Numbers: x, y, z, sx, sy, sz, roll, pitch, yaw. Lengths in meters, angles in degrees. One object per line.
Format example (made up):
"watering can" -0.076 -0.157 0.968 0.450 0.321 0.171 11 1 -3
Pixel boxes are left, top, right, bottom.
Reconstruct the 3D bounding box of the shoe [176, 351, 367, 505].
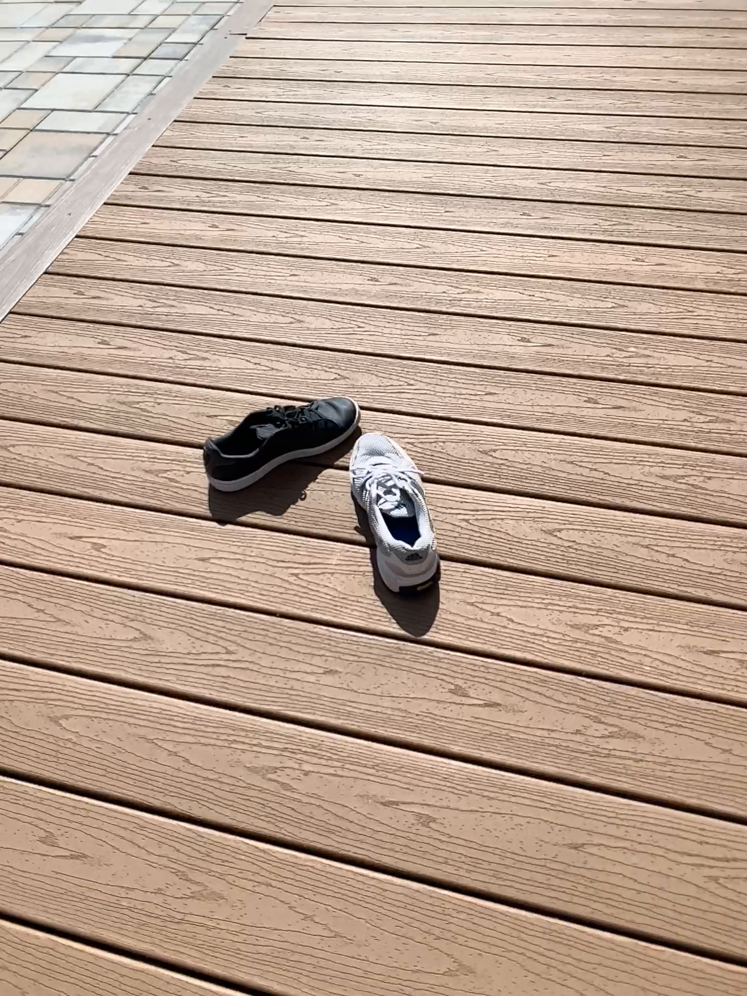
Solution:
"shoe" -0.154 -0.112 1.184 0.260 0.100 0.110 -27 53 -16

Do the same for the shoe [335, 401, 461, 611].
"shoe" 0.031 0.005 1.089 0.110 0.120 0.271 -13 50 -5
